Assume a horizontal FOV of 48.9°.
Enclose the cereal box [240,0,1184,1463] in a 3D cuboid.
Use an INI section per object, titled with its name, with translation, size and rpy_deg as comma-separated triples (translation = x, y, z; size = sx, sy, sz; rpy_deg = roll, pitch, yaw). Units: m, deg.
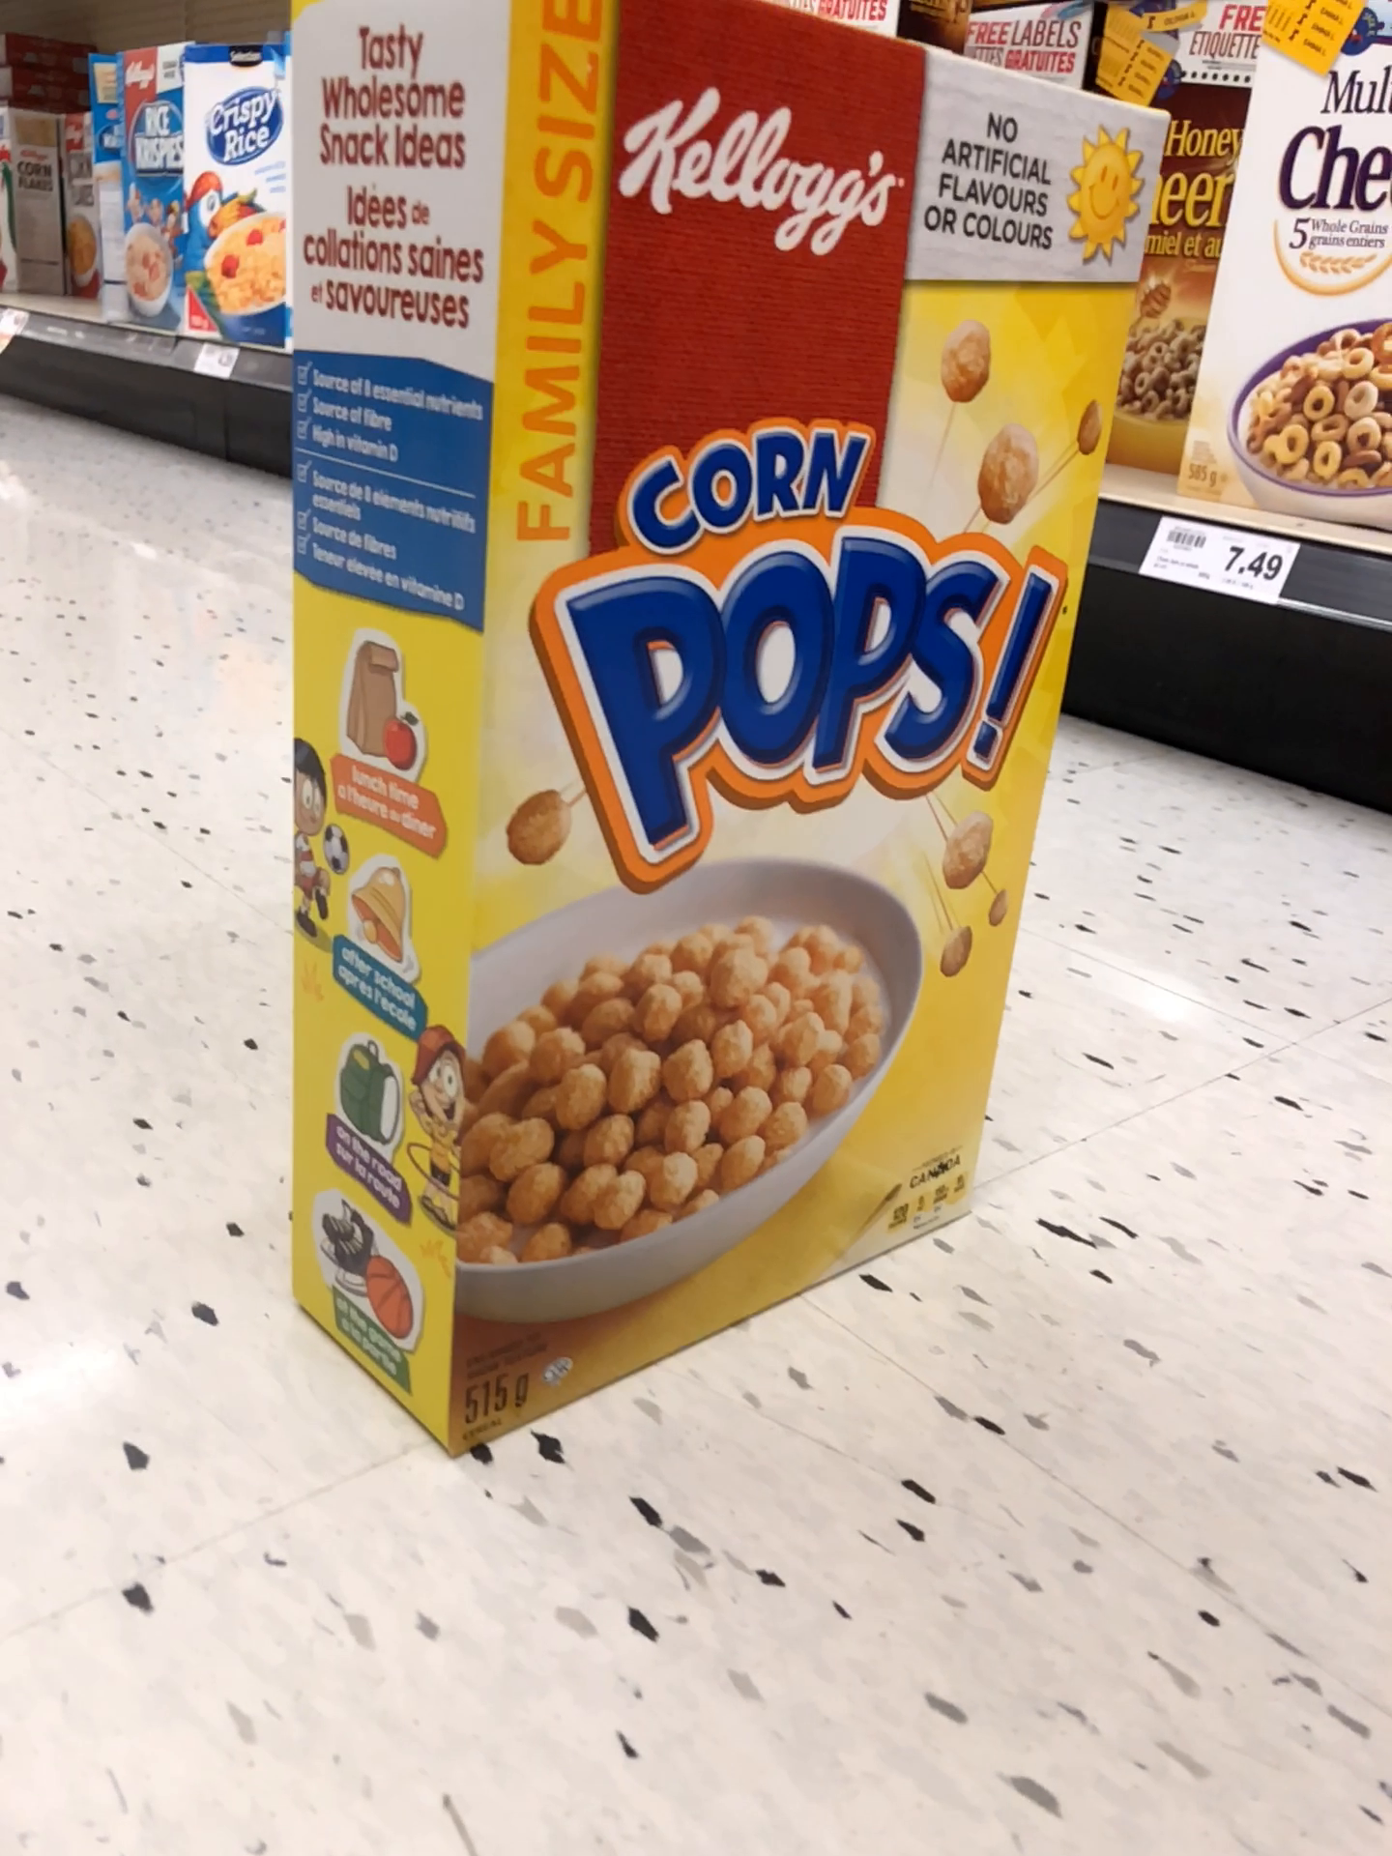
[cereal box]
translation = -0.002, -0.056, 0.404
size = 0.201, 0.318, 0.100
rpy_deg = -13, 28, -40
